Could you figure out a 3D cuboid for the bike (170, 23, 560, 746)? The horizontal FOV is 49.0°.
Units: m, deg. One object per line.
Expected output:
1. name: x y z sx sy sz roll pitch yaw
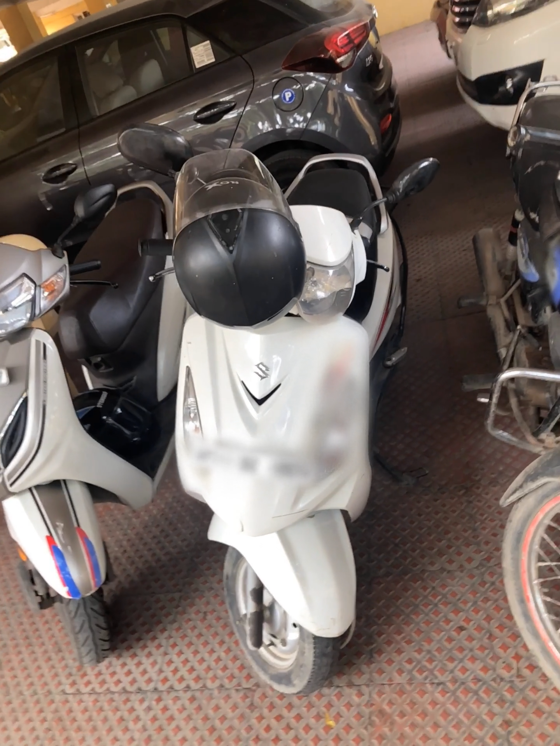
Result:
1. bike: 0.355 -0.039 1.713 0.832 0.941 1.515 -13 43 14
